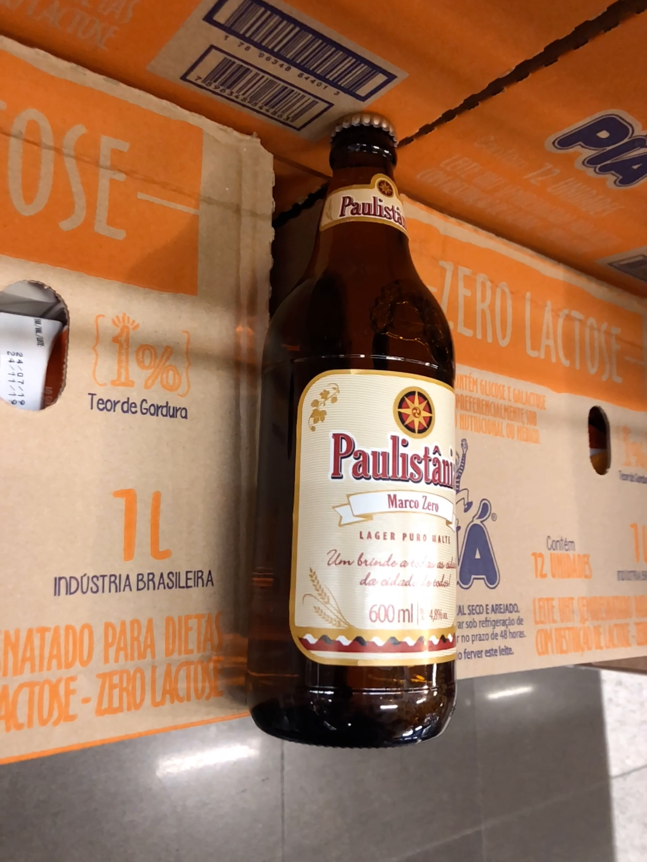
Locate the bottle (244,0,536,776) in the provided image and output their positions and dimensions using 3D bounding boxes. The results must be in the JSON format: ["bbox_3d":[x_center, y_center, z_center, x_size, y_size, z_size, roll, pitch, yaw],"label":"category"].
[{"bbox_3d":[0.022,-0.025,0.254,0.080,0.050,0.250,9,75,-37],"label":"bottle"}]
